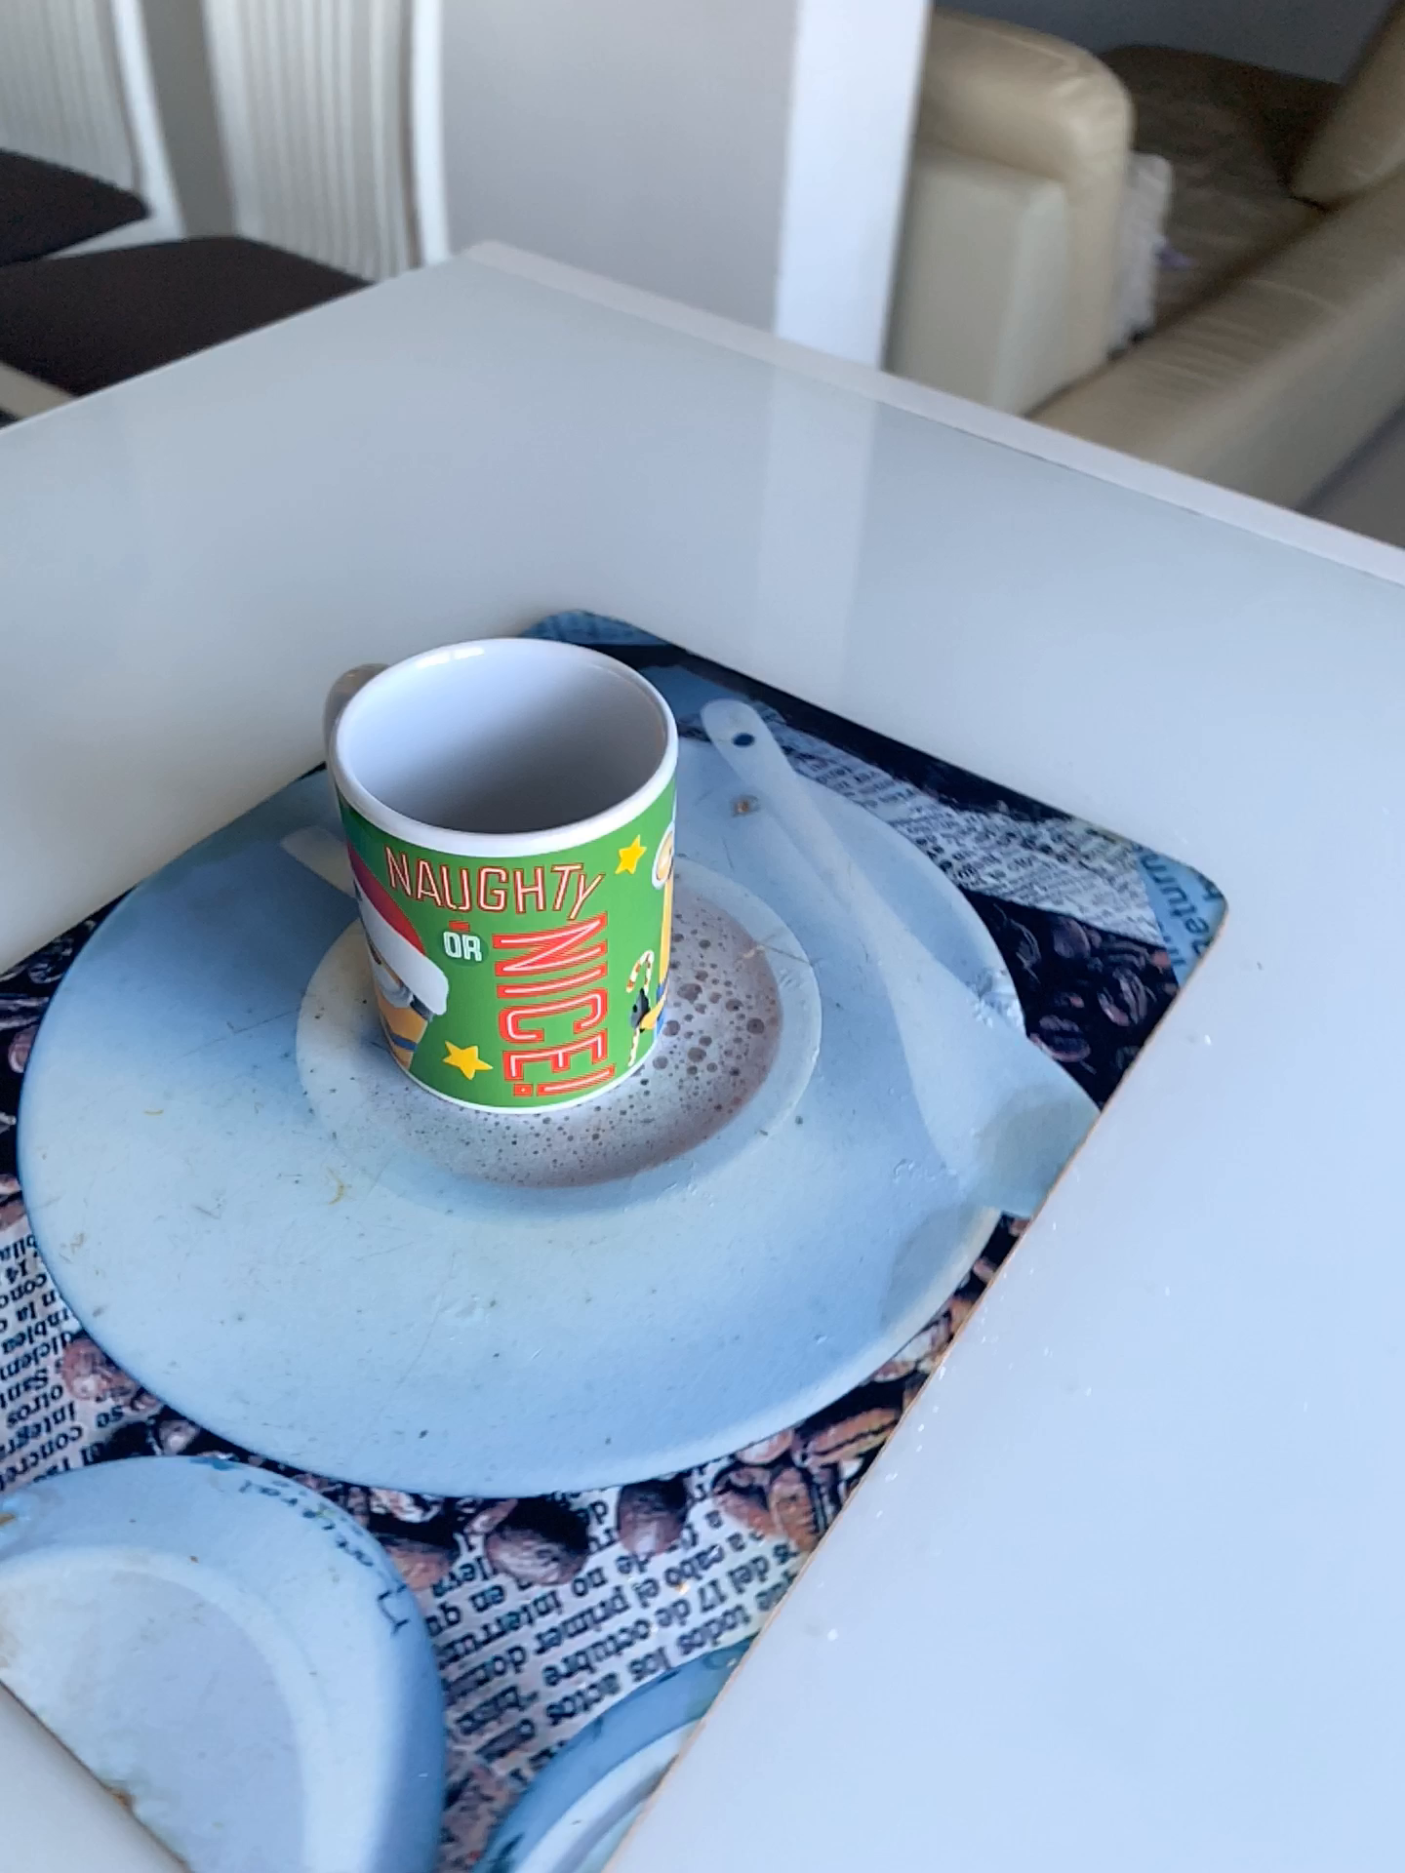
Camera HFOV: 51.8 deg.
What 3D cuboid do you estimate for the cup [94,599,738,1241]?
[{"bbox_3d":[-0.073,-0.011,0.378,0.094,0.077,0.134,-33,55,-31],"label":"cup"}]
